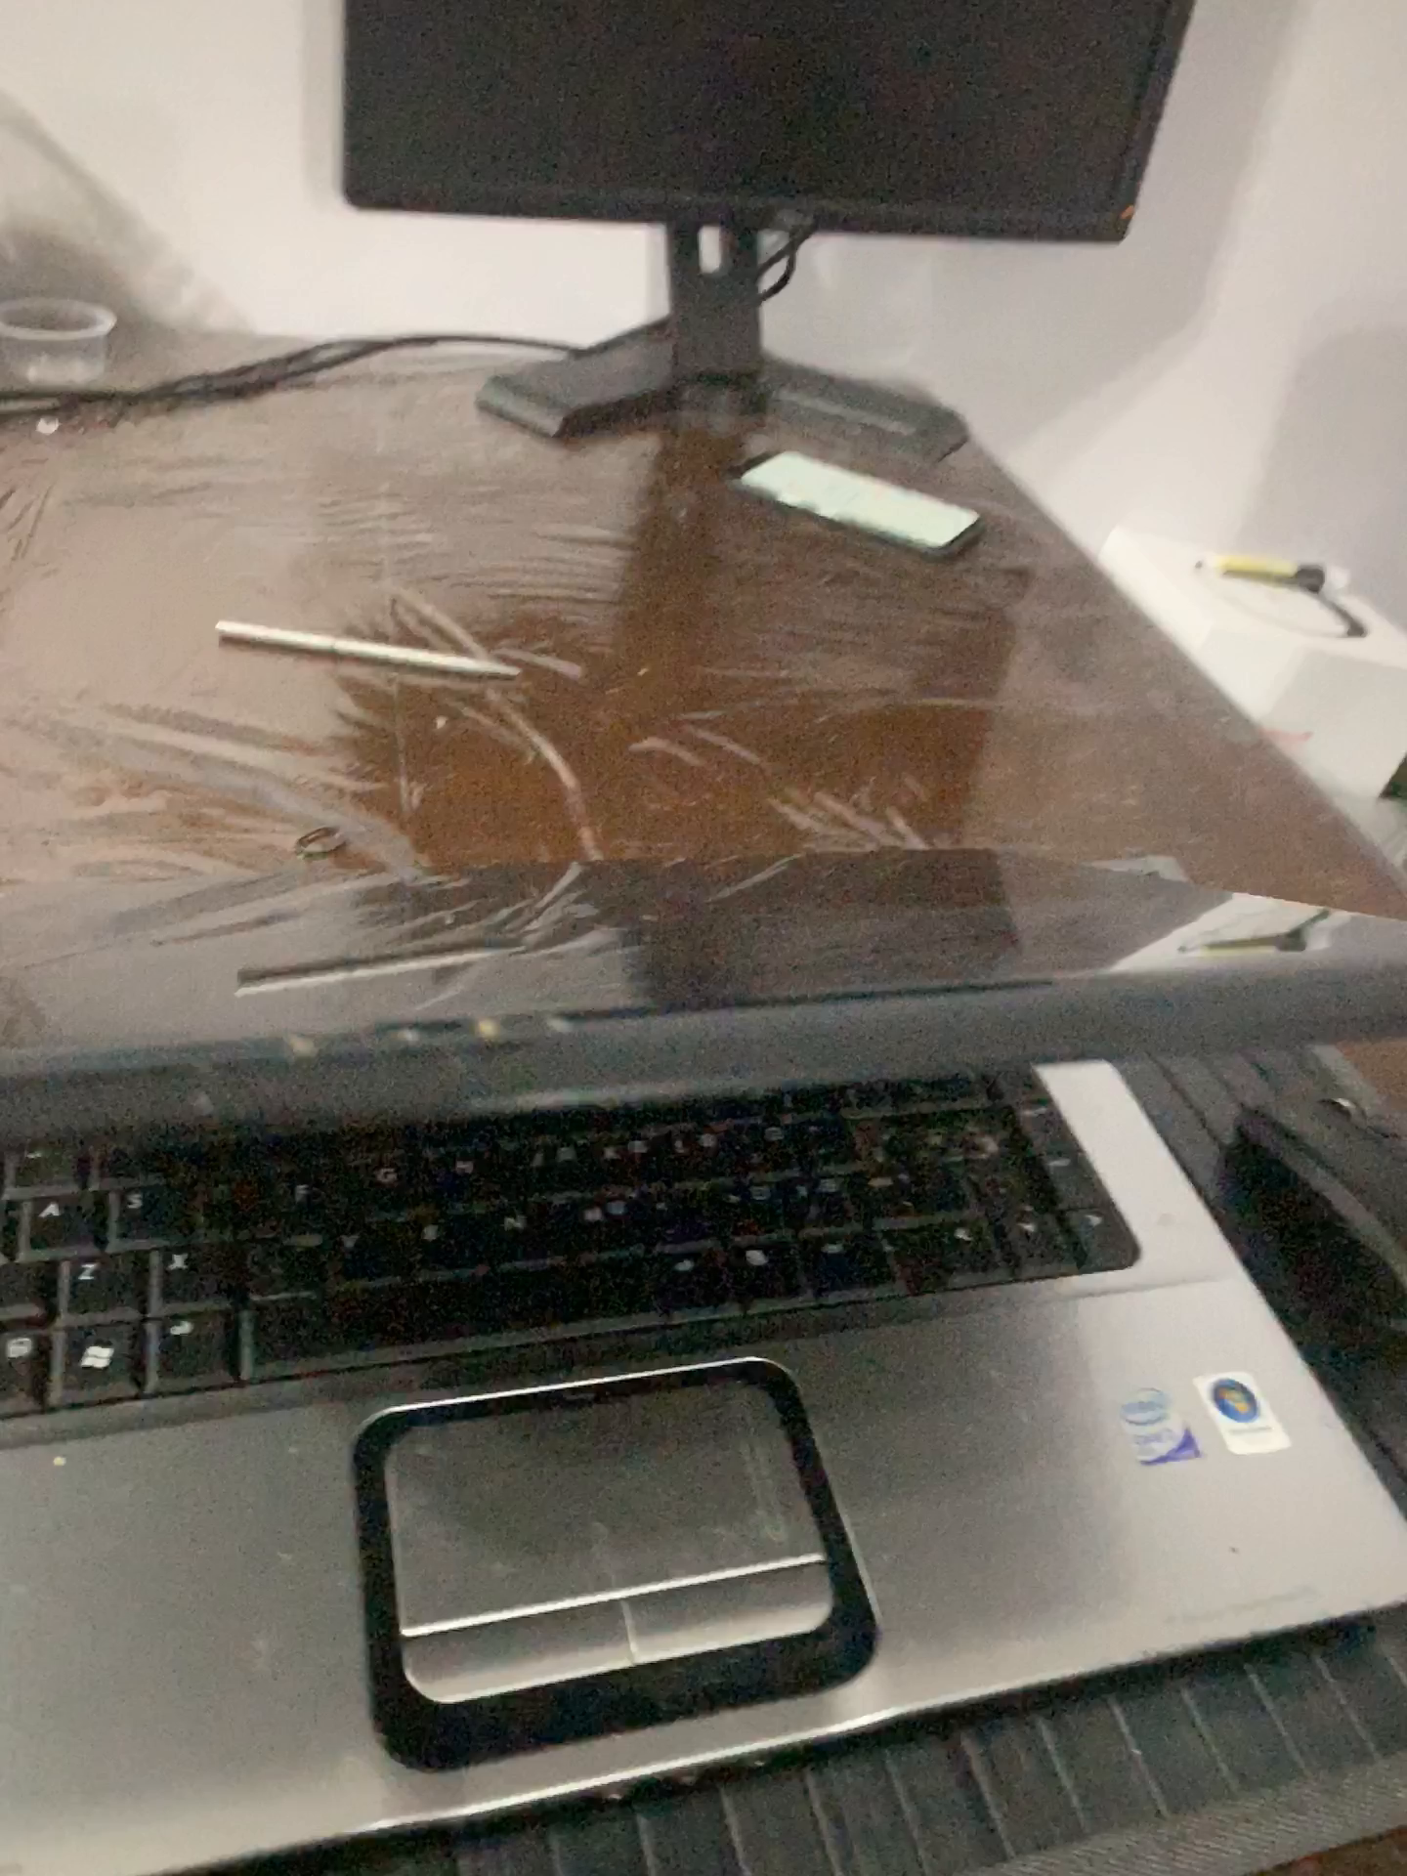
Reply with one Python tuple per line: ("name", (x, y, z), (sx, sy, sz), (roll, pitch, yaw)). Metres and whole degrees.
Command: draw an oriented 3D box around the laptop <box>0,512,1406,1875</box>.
("laptop", (-0.023, 0.021, 0.316), (0.343, 0.109, 0.244), (-3, 41, -19))
